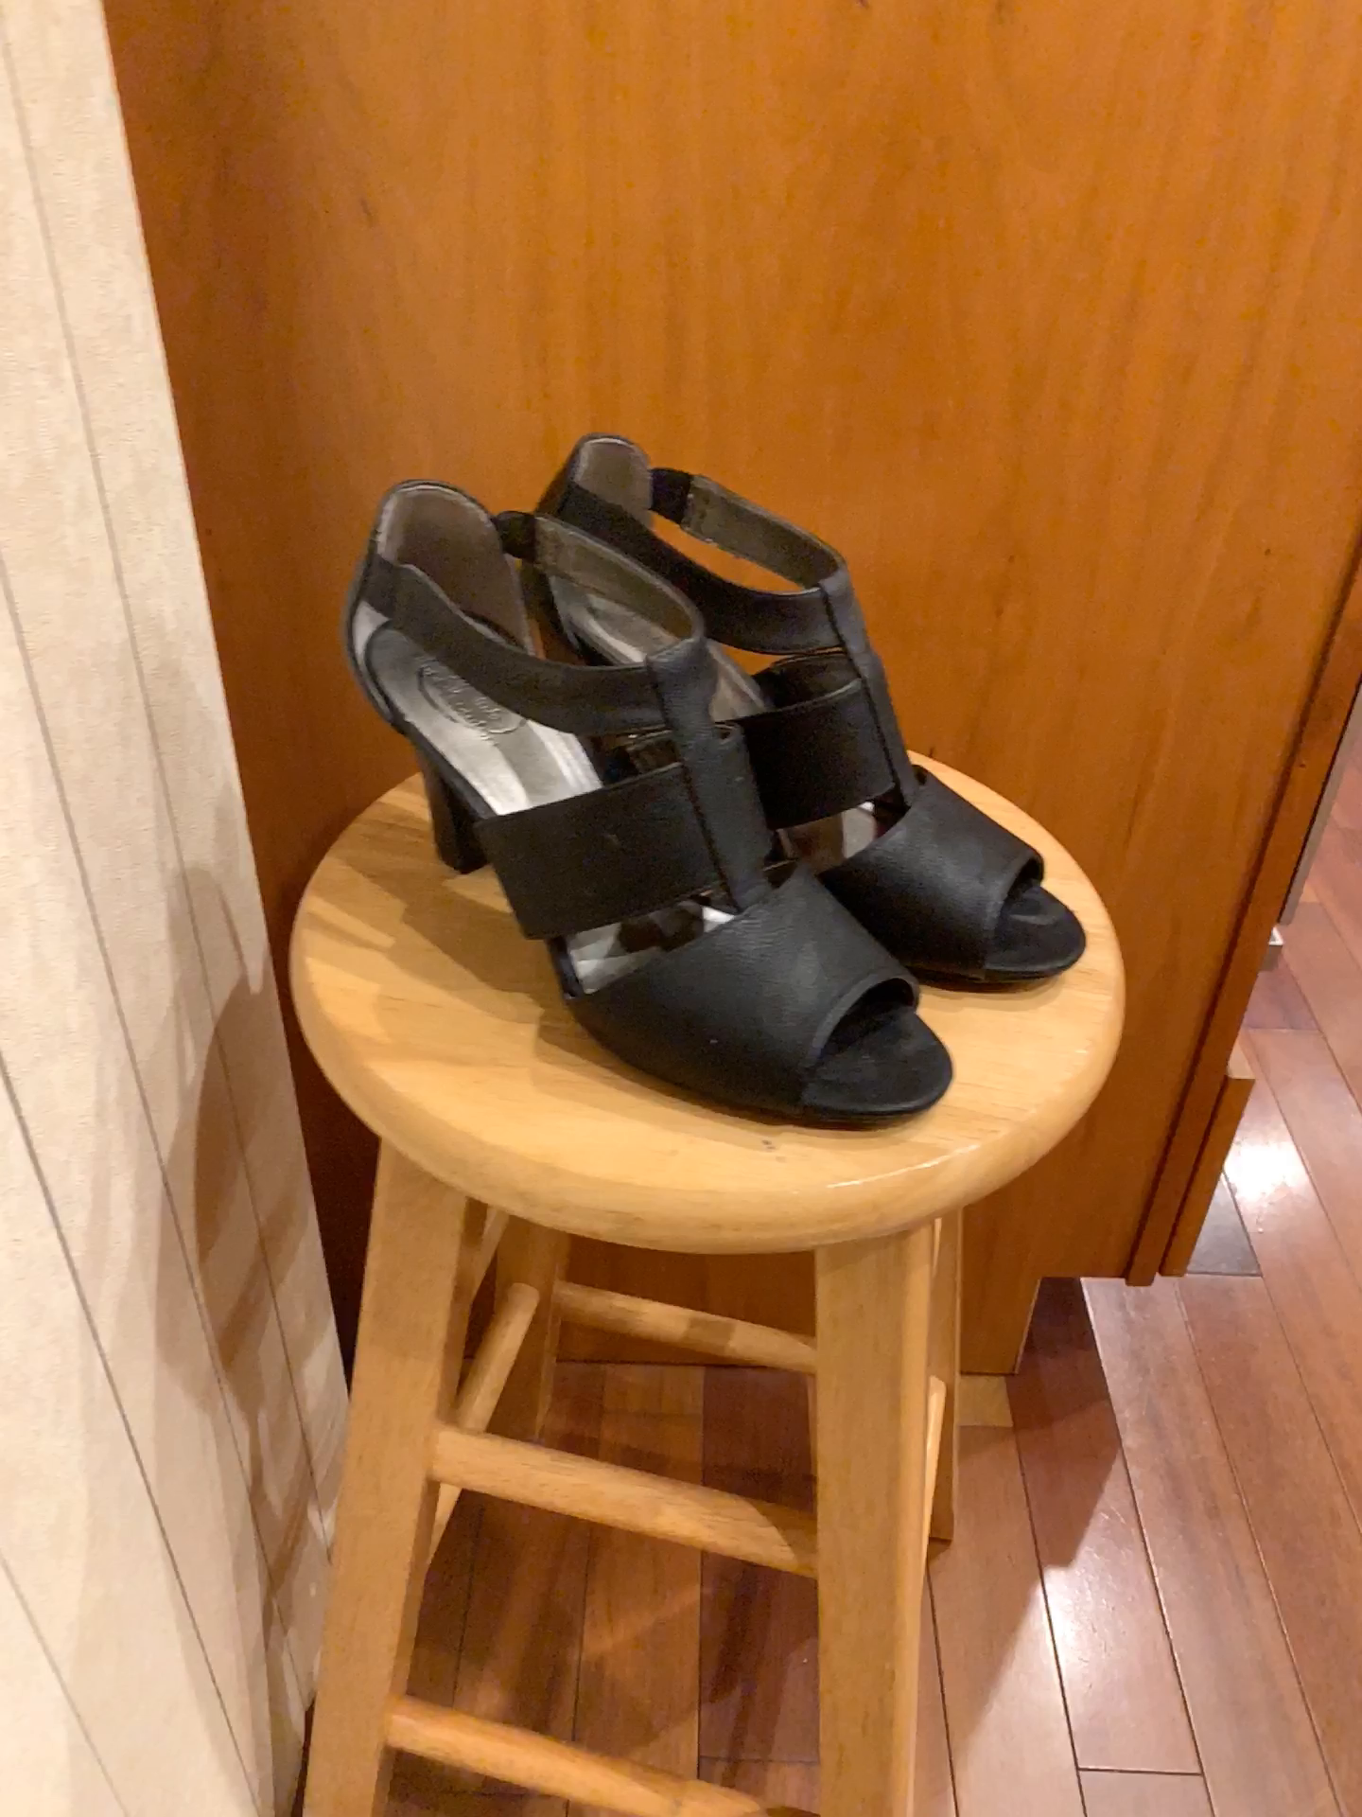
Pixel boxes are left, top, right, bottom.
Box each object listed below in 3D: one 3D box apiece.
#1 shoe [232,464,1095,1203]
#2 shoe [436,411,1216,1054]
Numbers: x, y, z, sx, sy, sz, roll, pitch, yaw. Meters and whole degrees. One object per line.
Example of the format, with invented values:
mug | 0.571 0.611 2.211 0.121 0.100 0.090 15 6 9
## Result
shoe | -0.016 -0.037 0.436 0.244 0.125 0.090 26 43 29
shoe | 0.039 -0.073 0.490 0.234 0.130 0.100 24 42 27
